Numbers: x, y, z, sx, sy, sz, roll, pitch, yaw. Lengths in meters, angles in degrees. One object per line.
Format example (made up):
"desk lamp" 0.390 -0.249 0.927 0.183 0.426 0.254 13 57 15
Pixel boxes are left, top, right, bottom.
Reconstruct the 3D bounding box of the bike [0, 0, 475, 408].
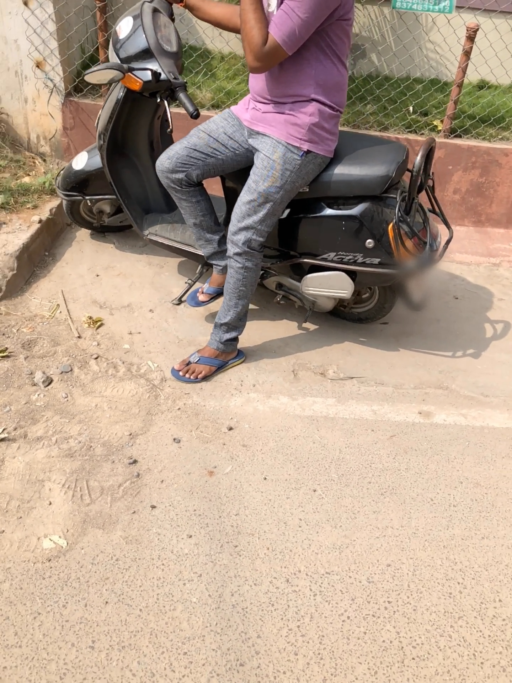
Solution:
"bike" -0.183 -0.644 2.098 1.547 1.153 0.713 17 35 16
